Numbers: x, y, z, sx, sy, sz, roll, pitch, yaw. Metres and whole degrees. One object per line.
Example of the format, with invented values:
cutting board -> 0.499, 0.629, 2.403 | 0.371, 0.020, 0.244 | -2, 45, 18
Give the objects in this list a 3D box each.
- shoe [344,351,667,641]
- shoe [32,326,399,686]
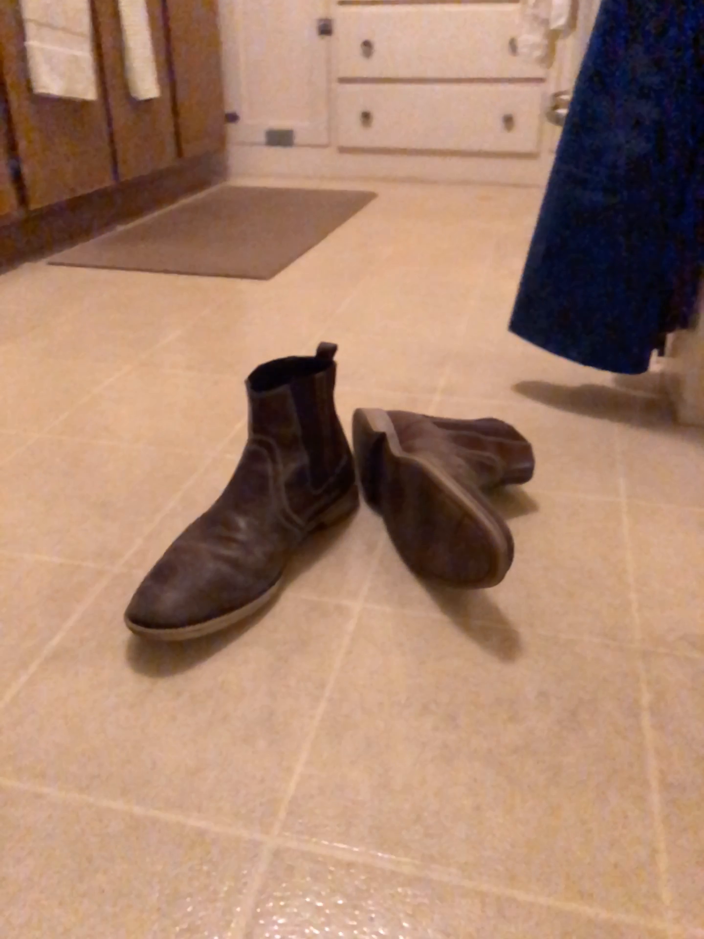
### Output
shoe -> 0.115, 0.001, 0.729 | 0.161, 0.111, 0.315 | -7, 29, -16
shoe -> -0.088, 0.007, 0.666 | 0.111, 0.160, 0.314 | 17, 33, 29
